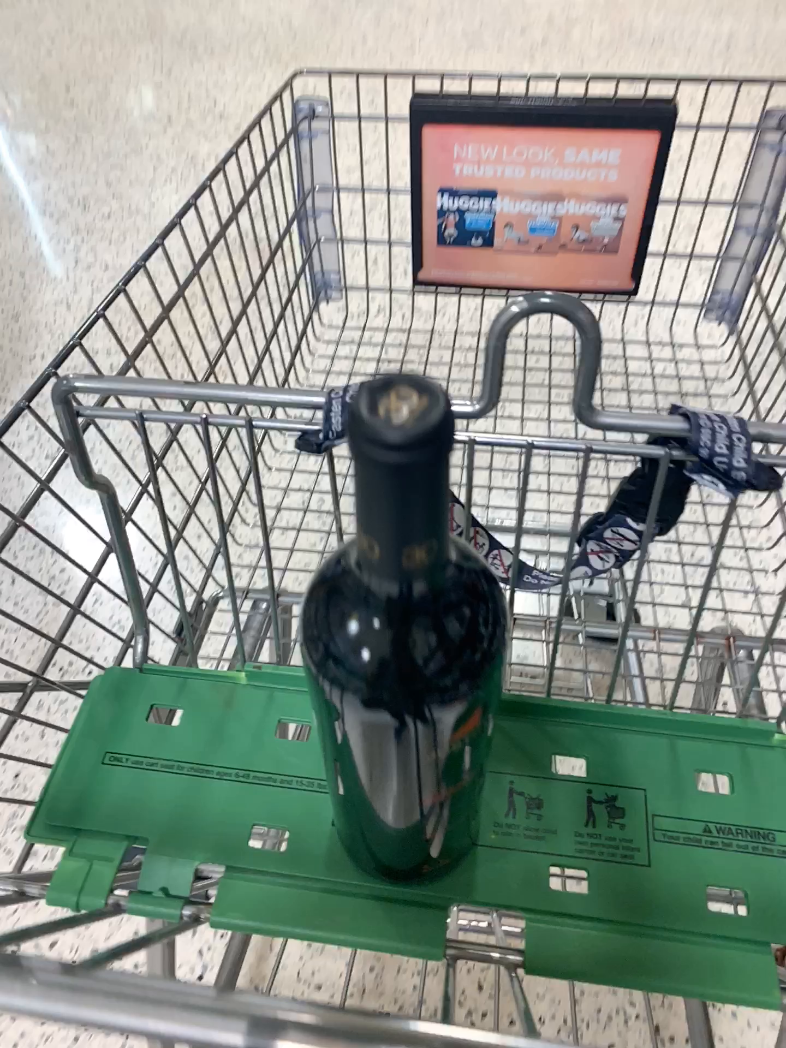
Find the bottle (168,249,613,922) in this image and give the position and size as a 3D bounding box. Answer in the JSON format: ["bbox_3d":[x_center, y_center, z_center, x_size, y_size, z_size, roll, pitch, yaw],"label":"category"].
[{"bbox_3d":[0.002,0.058,0.314,0.080,0.298,0.080,-1,51,2],"label":"bottle"}]
